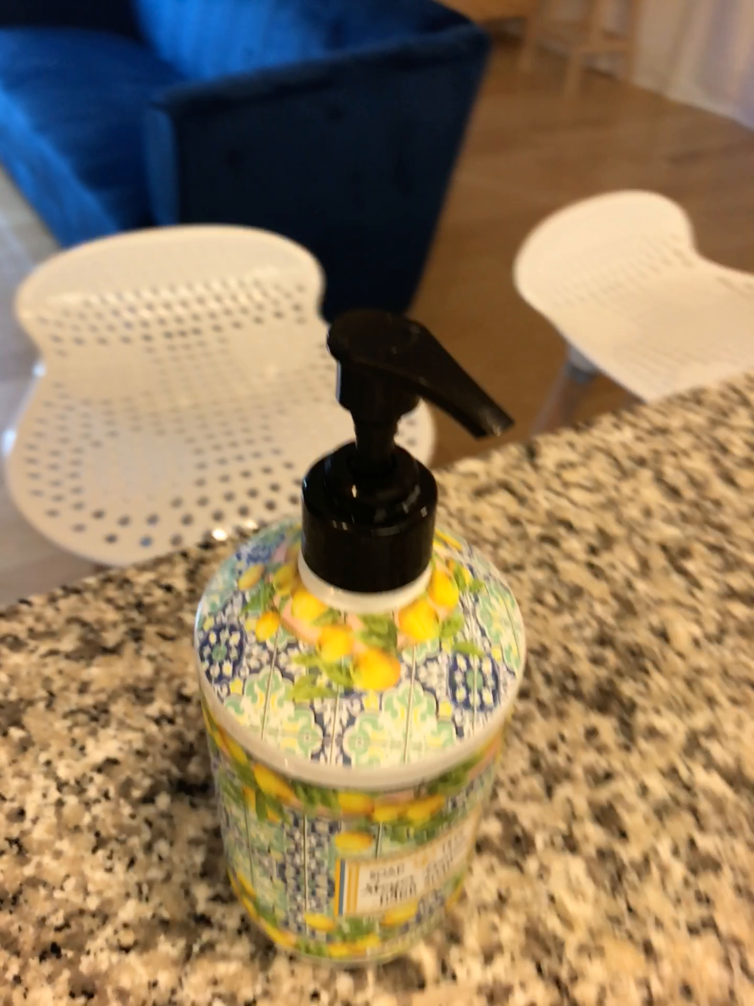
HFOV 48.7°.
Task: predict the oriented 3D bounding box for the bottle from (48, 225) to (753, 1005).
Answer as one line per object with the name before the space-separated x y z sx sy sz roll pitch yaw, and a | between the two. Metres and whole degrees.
bottle | -0.005 0.047 0.213 0.090 0.189 0.100 -19 47 -24
